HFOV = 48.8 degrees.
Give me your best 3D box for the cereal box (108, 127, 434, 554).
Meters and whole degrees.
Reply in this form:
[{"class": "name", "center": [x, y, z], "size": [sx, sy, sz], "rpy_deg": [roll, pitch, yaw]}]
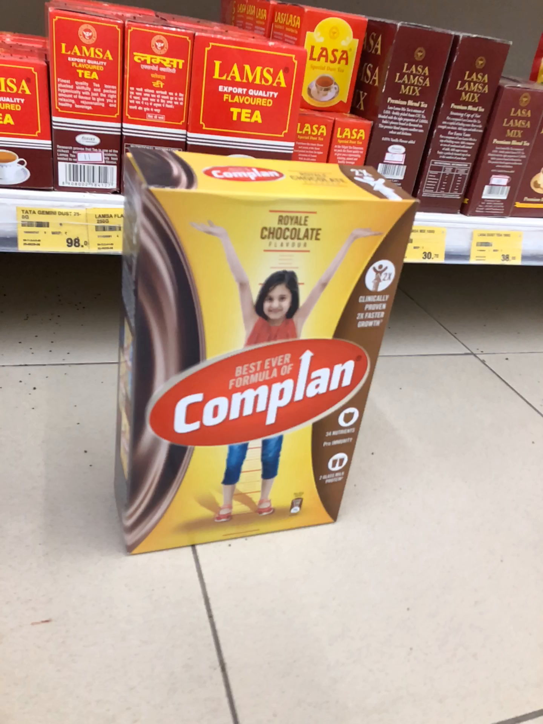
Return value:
[{"class": "cereal box", "center": [-0.017, -0.004, 0.381], "size": [0.160, 0.248, 0.070], "rpy_deg": [-3, 32, -21]}]
